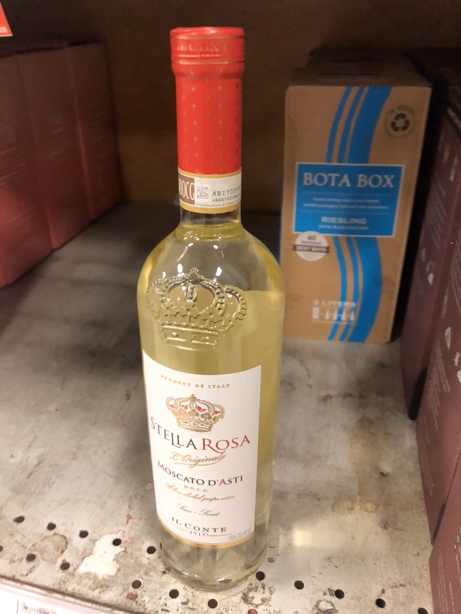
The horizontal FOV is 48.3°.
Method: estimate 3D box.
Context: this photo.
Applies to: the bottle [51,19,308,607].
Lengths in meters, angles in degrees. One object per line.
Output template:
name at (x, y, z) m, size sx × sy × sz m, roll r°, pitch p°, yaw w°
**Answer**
bottle at (-0.010, 0.031, 0.274) m, size 0.080 × 0.319 × 0.070 m, roll 4°, pitch 32°, yaw 9°
